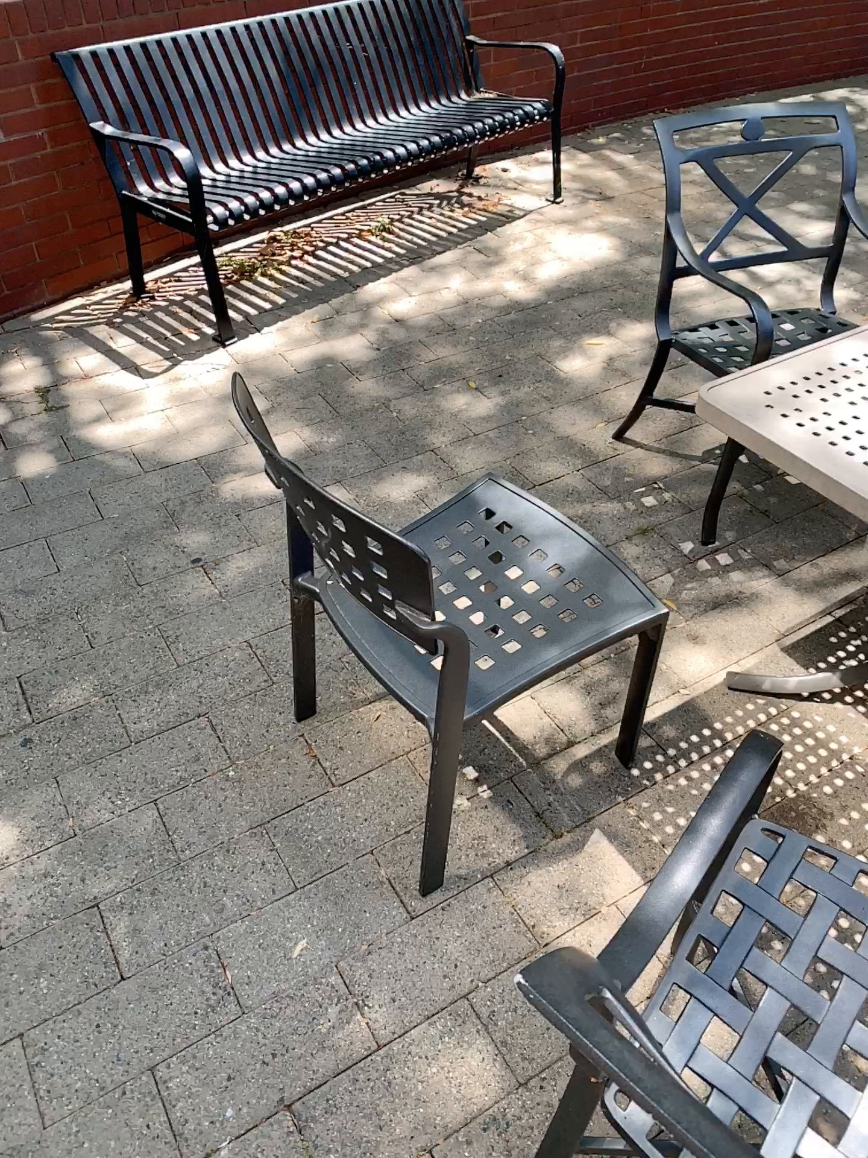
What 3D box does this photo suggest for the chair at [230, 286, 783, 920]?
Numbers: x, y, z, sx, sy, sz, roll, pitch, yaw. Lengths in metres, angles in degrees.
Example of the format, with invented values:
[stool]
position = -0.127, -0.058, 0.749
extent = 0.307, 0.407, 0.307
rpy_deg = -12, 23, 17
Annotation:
[chair]
position = 0.082, 0.026, 1.411
extent = 0.550, 0.716, 0.493
rpy_deg = -23, 46, -24
